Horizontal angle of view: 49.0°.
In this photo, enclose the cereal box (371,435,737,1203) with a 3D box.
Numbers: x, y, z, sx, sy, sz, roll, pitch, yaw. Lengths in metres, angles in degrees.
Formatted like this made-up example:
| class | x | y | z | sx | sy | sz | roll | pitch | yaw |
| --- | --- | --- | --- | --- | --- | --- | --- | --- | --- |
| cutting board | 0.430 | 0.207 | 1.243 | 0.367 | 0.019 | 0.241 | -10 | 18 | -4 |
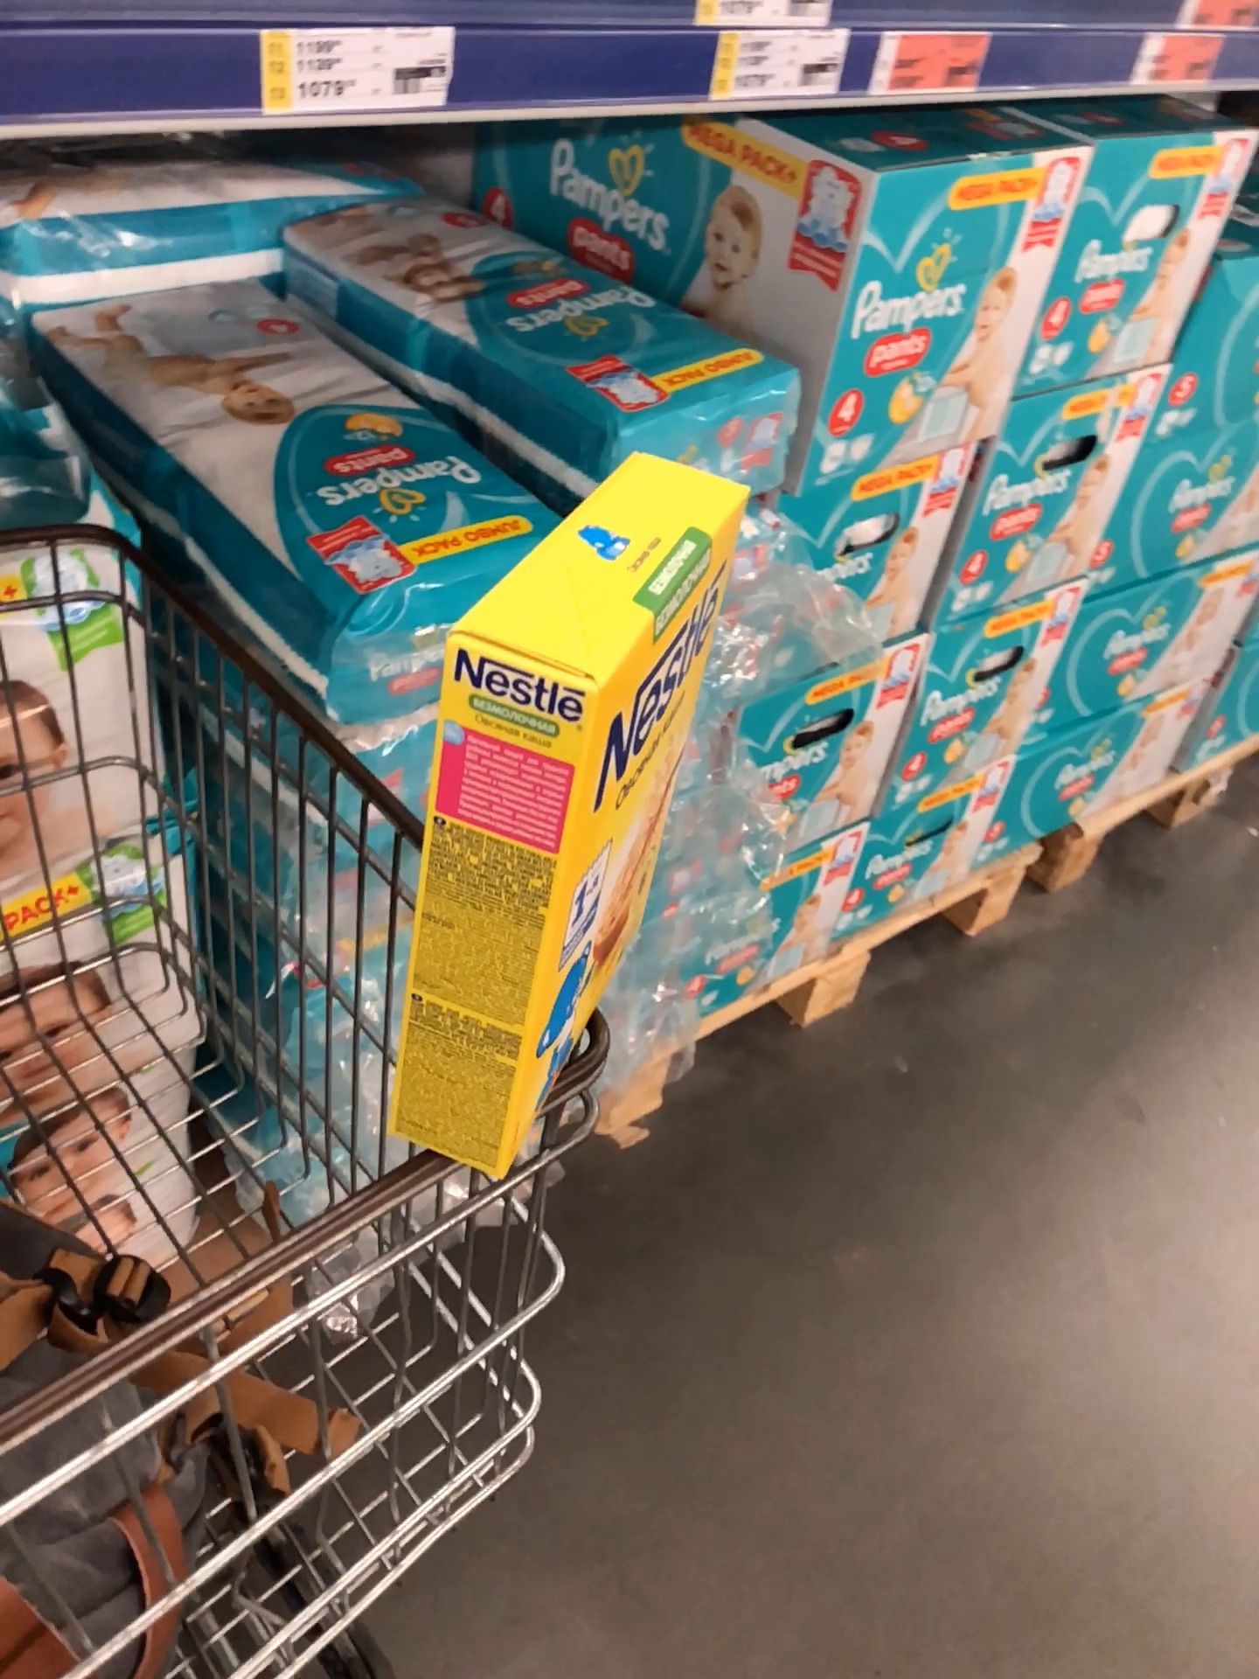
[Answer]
| class | x | y | z | sx | sy | sz | roll | pitch | yaw |
| --- | --- | --- | --- | --- | --- | --- | --- | --- | --- |
| cereal box | -0.025 | -0.007 | 0.449 | 0.040 | 0.199 | 0.151 | 19 | 37 | 8 |
